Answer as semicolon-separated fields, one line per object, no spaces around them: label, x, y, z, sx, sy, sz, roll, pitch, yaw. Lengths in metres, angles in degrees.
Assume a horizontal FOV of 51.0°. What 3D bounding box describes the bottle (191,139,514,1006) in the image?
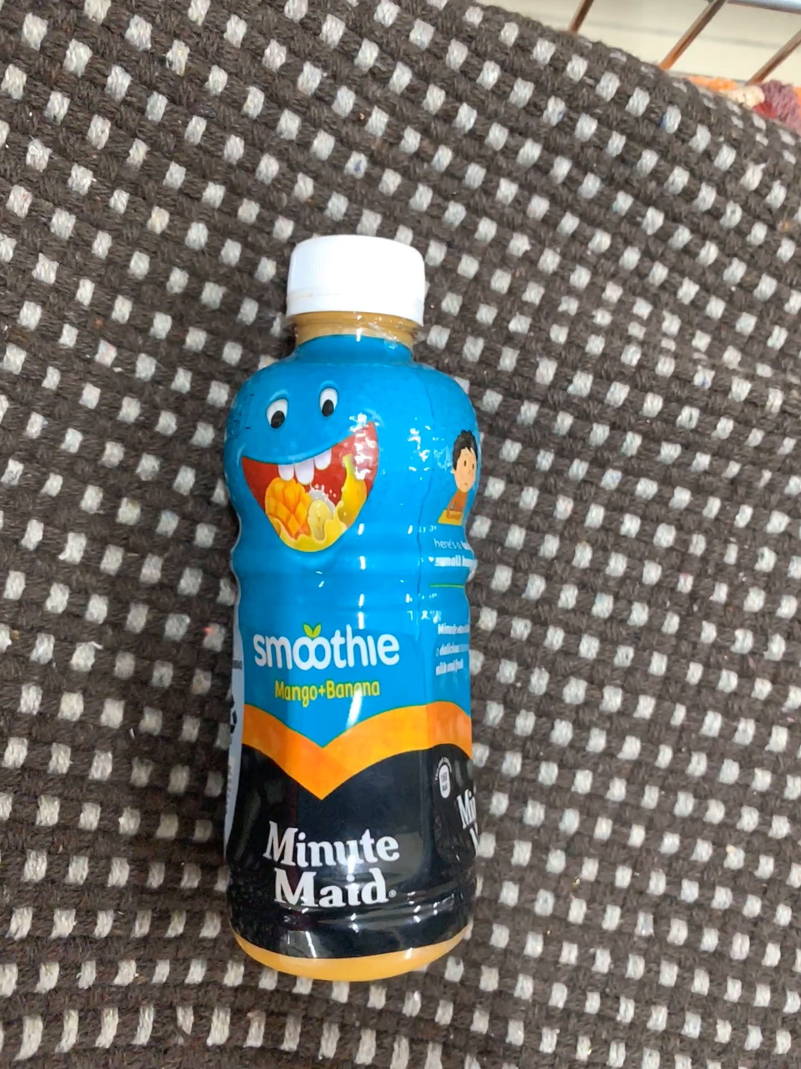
bottle;-0.012;0.007;0.182;0.060;0.040;0.160;-1;91;-14
